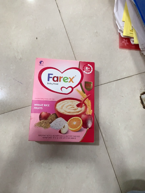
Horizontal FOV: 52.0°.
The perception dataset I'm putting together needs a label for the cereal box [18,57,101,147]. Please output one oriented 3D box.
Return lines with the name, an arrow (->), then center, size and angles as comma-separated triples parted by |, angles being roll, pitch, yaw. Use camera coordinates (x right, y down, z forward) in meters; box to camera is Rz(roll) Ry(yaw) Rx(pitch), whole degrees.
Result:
cereal box -> -0.024, 0.013, 0.345 | 0.170, 0.050, 0.190 | 3, 79, -6
